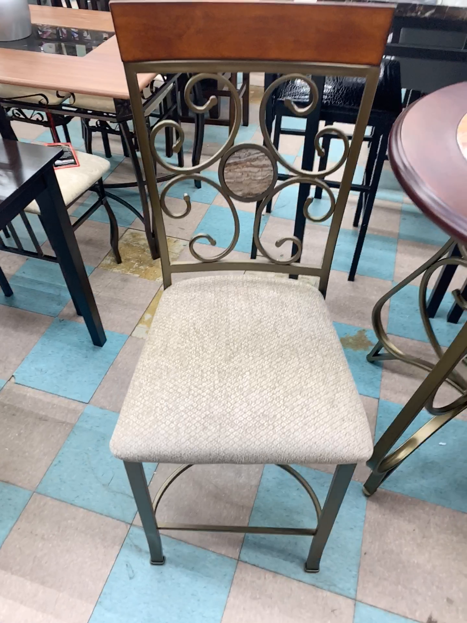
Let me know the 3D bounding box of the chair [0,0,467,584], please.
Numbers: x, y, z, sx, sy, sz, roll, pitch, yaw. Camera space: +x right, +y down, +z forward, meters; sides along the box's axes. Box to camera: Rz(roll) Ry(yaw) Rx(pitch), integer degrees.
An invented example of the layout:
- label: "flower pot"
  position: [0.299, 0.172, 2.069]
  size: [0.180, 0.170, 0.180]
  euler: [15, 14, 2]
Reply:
- label: "chair"
  position: [0.002, 0.066, 0.955]
  size: [0.510, 1.074, 0.563]
  euler: [3, 46, 2]
